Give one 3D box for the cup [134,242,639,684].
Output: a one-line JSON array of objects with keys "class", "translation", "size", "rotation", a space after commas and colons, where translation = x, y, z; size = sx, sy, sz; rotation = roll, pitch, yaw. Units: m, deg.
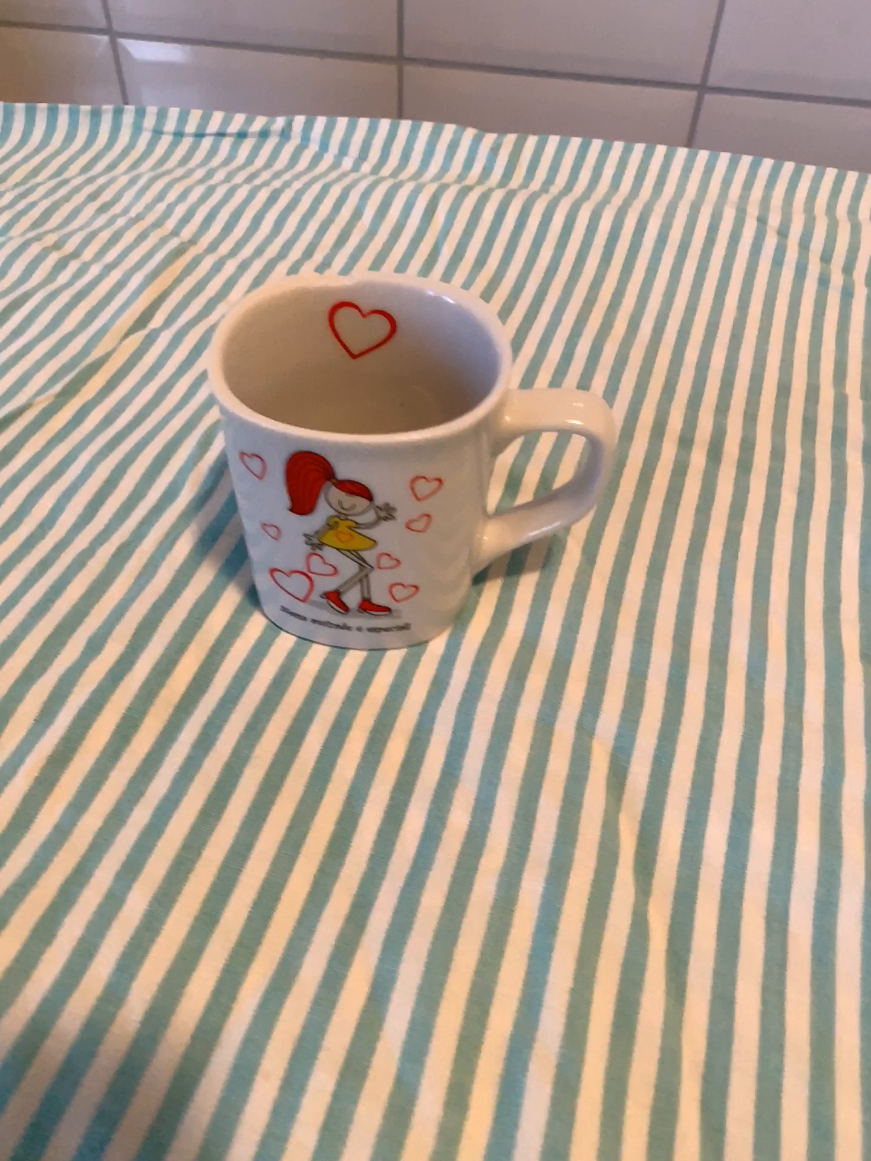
[{"class": "cup", "translation": [-0.008, -0.032, 0.248], "size": [0.110, 0.080, 0.070], "rotation": [9, 48, 5]}]
